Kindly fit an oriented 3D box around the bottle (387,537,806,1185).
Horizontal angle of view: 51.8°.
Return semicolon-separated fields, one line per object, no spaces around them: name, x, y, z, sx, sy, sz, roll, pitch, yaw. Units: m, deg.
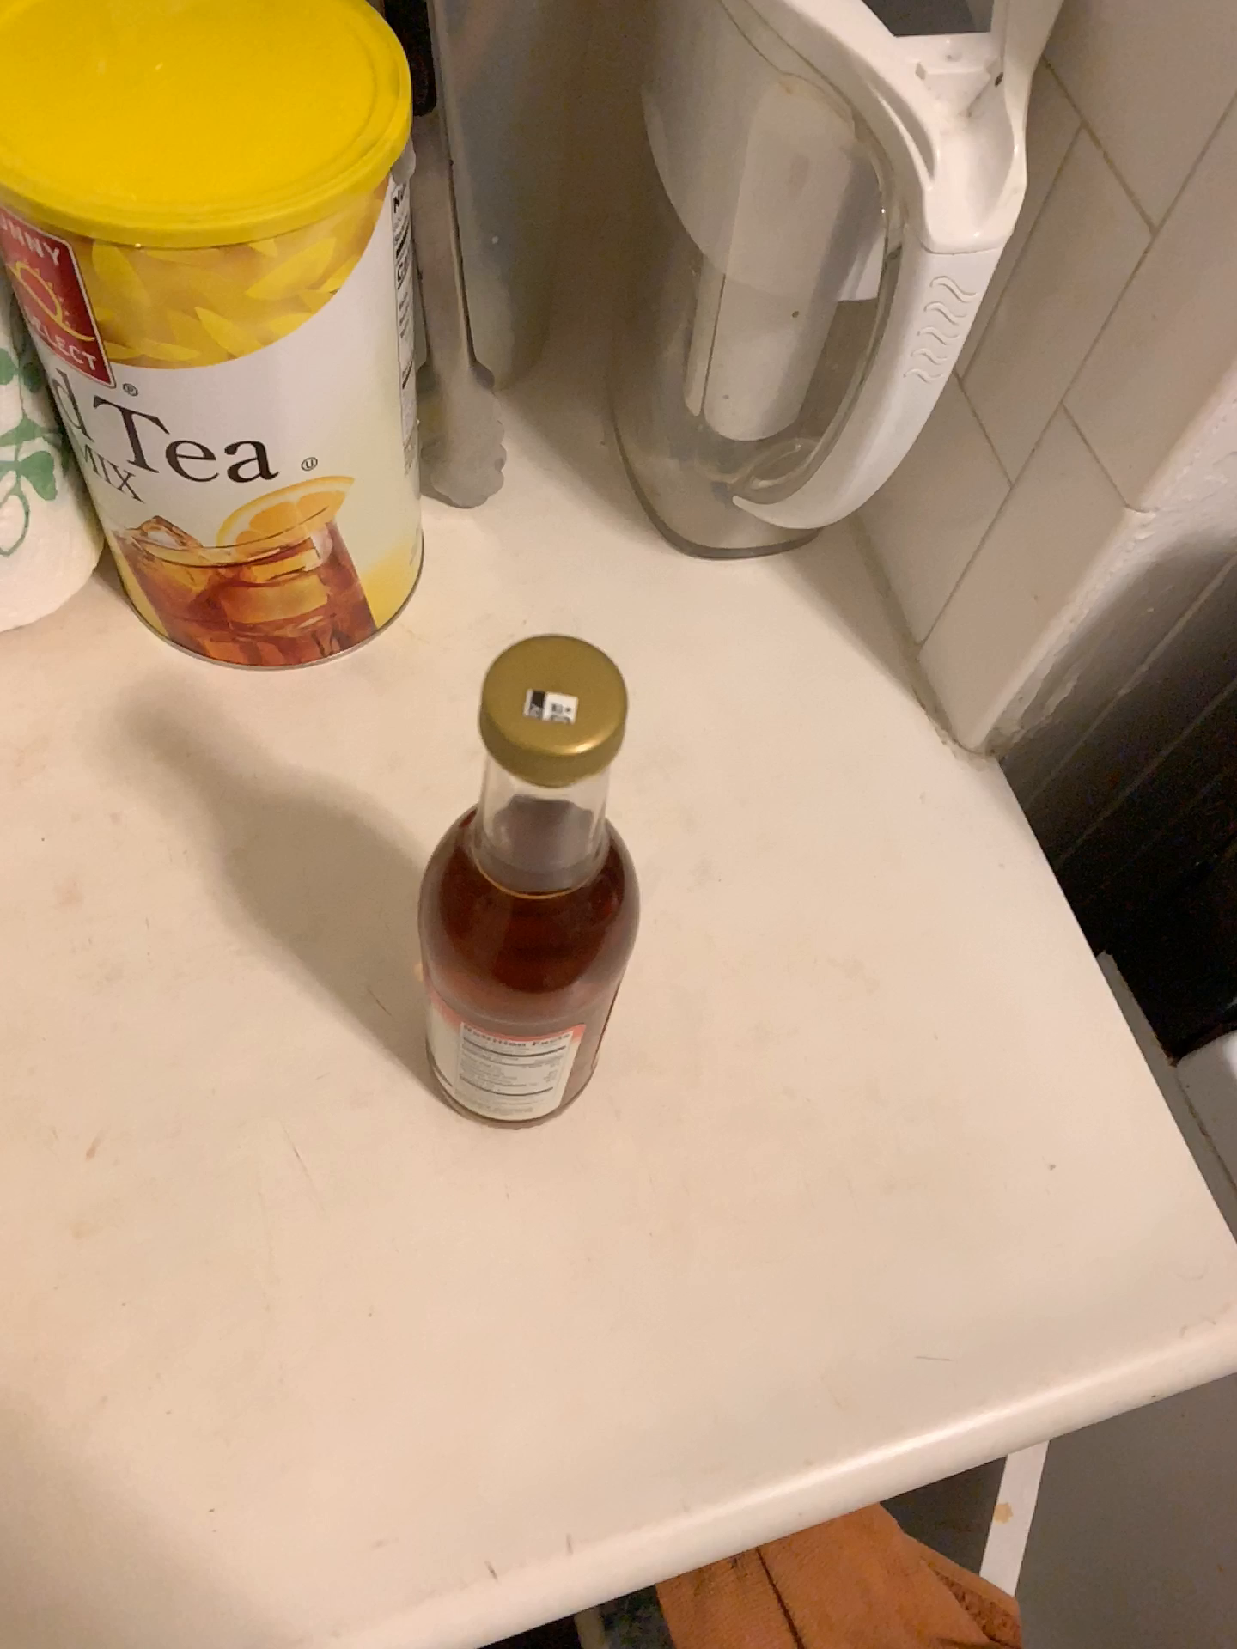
bottle;-0.016;0.033;0.354;0.070;0.239;0.070;3;62;-6
